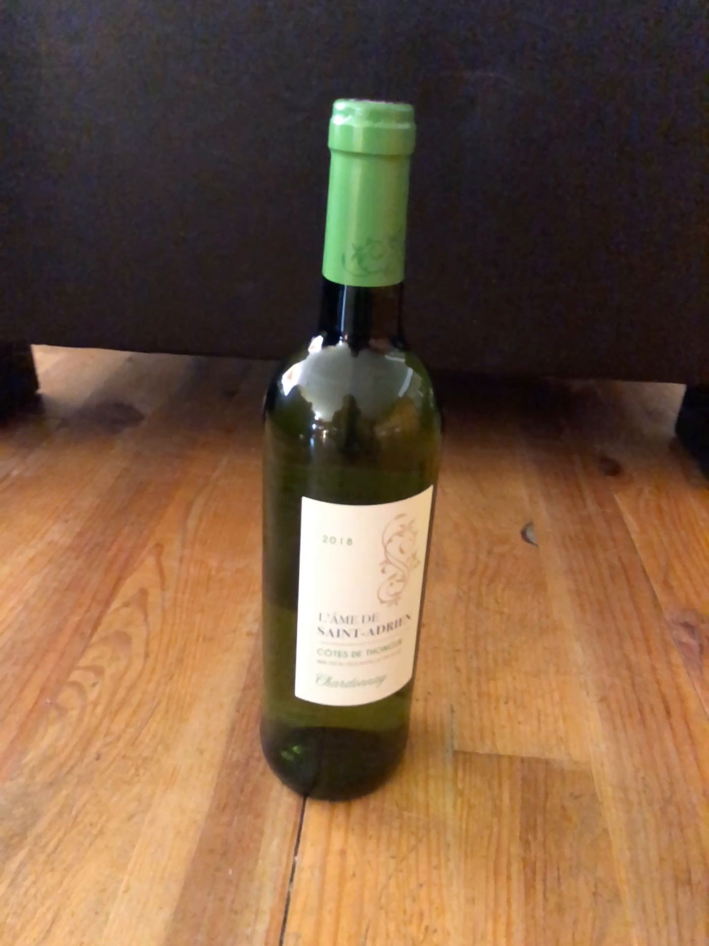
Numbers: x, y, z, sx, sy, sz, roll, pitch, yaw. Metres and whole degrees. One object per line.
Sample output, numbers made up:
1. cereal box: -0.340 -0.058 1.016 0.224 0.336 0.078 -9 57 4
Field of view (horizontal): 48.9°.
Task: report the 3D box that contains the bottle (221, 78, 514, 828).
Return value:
1. bottle: -0.006 0.005 0.325 0.080 0.298 0.080 2 27 -1
